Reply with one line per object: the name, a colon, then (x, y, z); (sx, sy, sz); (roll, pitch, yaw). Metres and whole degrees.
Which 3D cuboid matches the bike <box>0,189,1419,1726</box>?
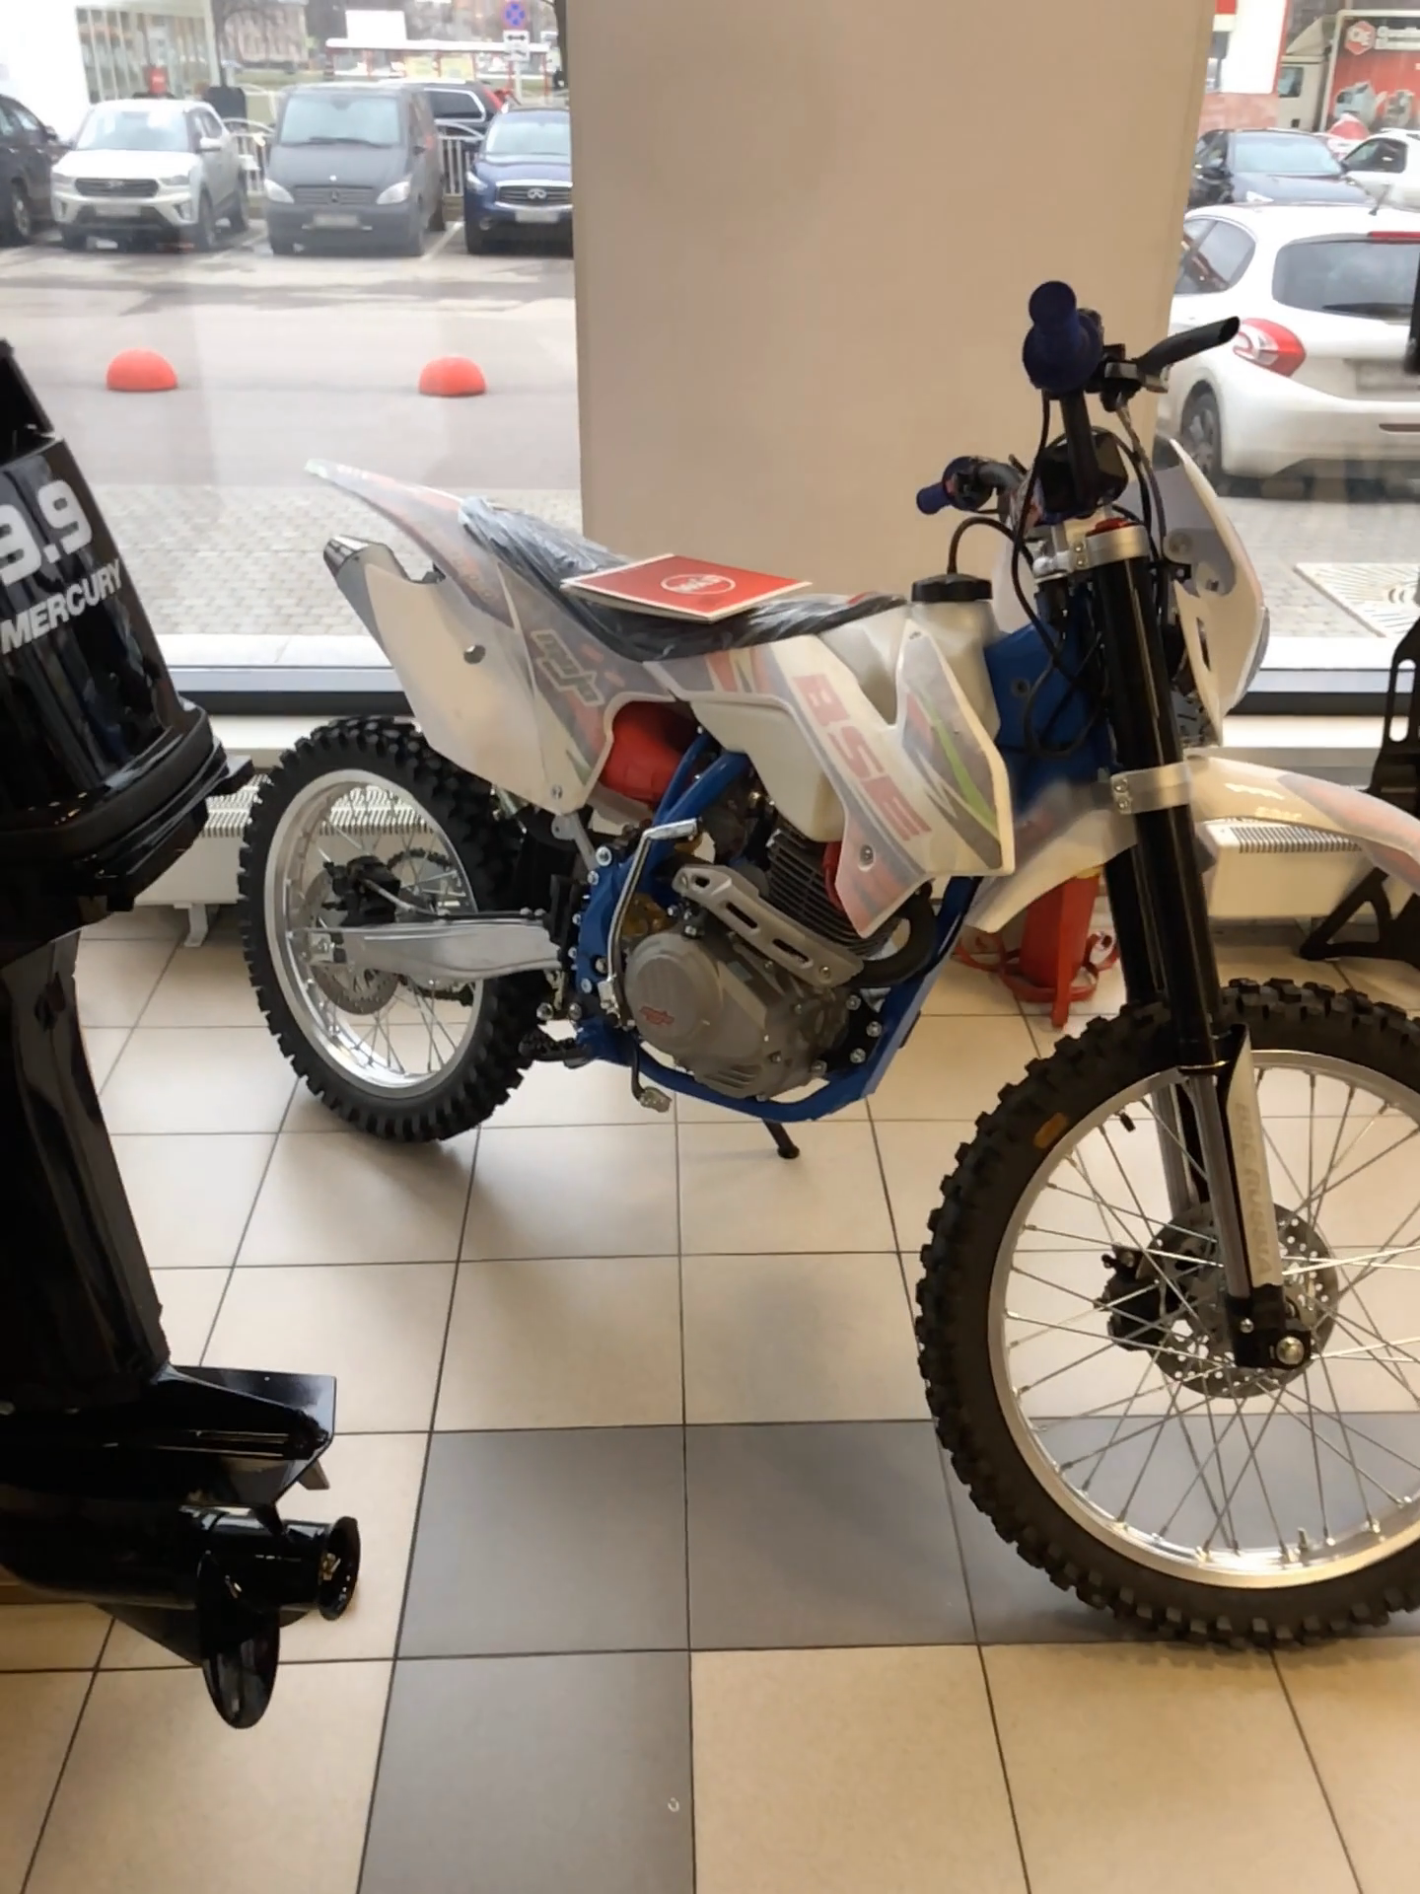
bike: (0.175, -0.187, 1.969); (1.846, 1.220, 0.846); (18, 33, 26)
